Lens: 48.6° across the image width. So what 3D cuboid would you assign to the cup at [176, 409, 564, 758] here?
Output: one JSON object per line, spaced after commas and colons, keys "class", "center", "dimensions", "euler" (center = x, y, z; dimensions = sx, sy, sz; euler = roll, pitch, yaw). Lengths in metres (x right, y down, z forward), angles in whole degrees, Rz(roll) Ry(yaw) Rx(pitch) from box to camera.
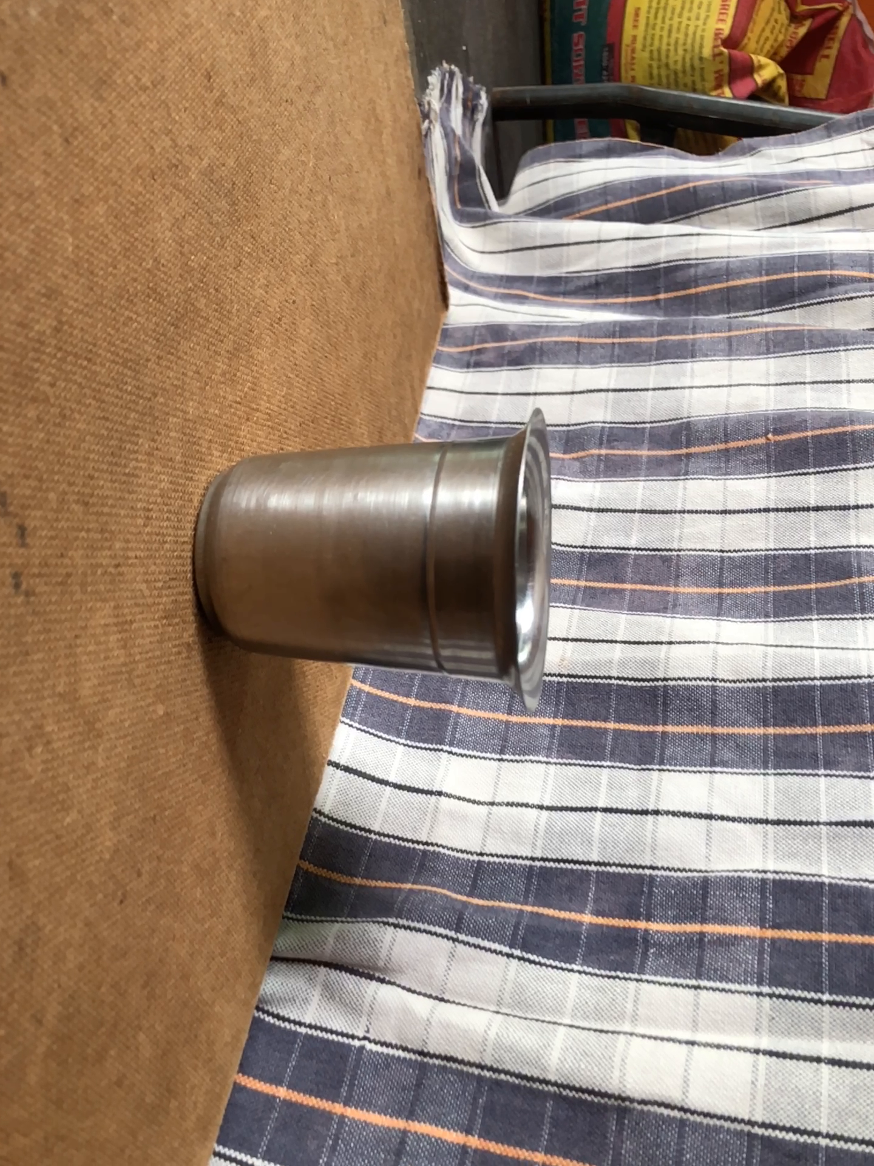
{"class": "cup", "center": [-0.010, -0.005, 0.250], "dimensions": [0.070, 0.080, 0.070], "euler": [1, 90, -79]}
